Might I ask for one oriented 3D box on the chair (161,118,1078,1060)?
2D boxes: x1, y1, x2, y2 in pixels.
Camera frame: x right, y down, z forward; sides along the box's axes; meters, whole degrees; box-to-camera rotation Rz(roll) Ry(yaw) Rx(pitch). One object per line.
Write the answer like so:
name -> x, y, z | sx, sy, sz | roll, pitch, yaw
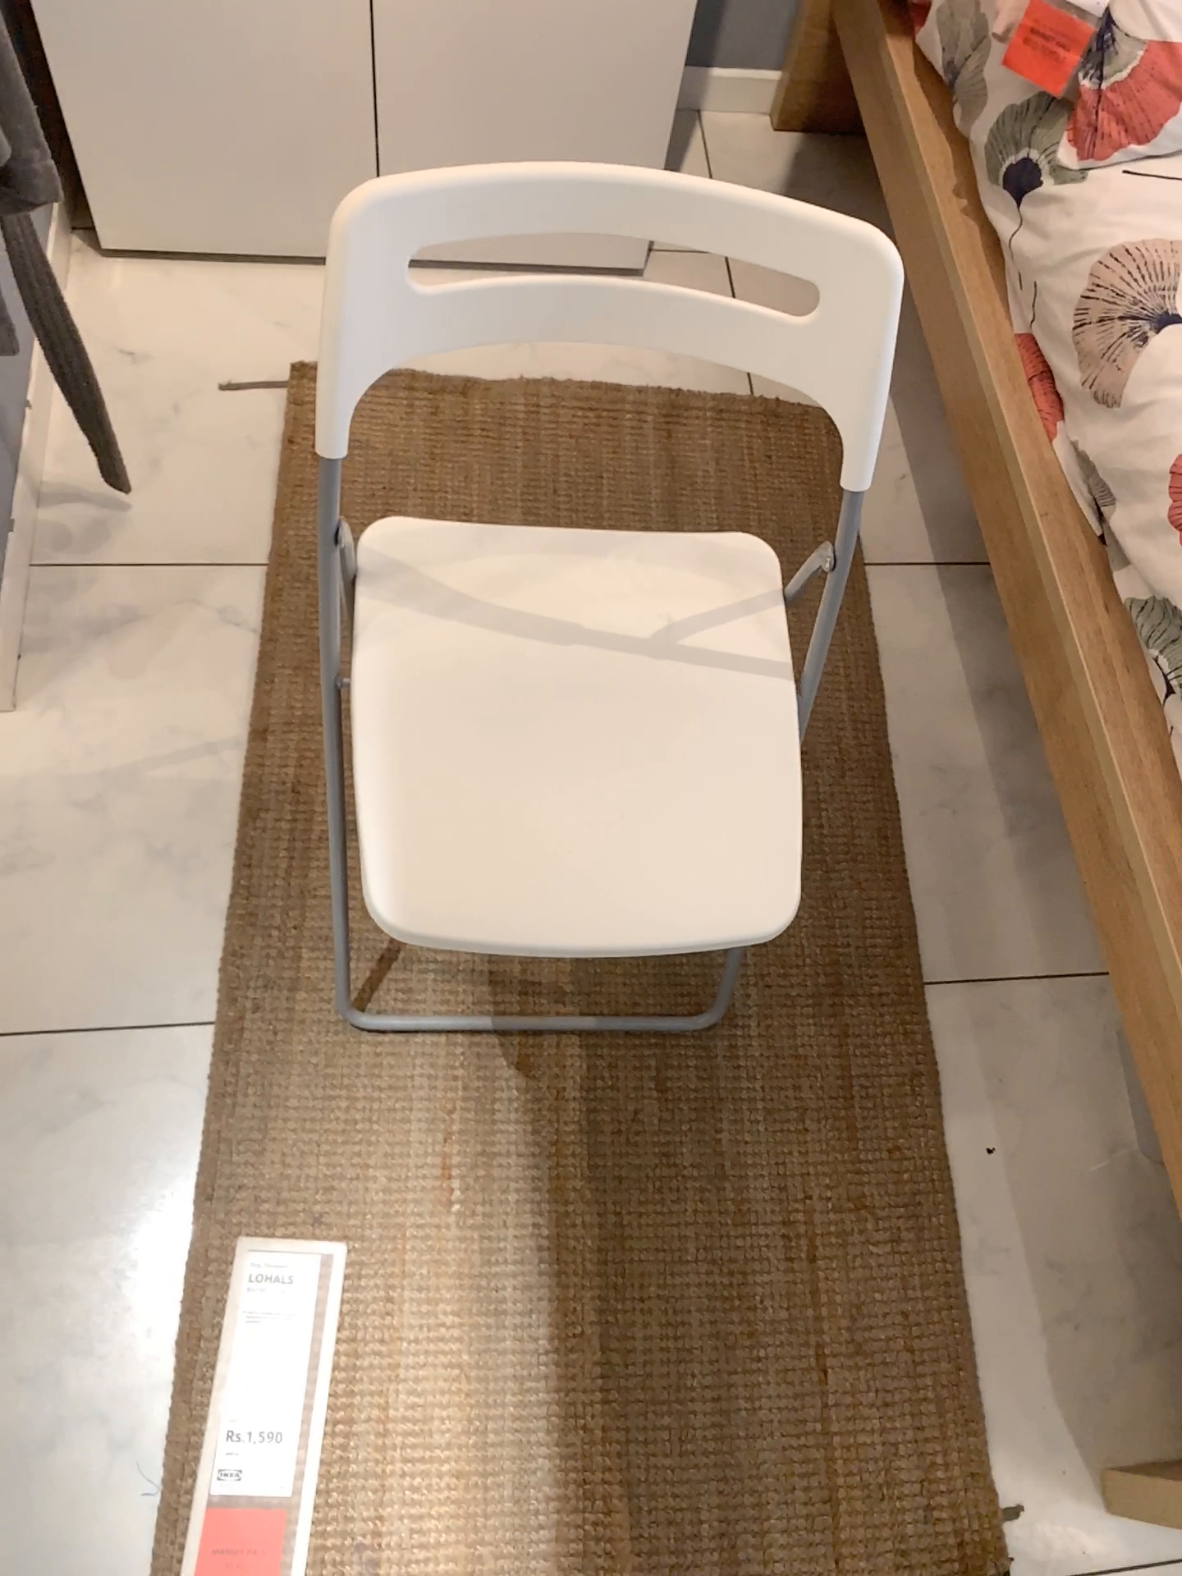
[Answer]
chair -> -0.018, -0.072, 0.975 | 0.450, 0.659, 0.431 | 2, 64, -6
